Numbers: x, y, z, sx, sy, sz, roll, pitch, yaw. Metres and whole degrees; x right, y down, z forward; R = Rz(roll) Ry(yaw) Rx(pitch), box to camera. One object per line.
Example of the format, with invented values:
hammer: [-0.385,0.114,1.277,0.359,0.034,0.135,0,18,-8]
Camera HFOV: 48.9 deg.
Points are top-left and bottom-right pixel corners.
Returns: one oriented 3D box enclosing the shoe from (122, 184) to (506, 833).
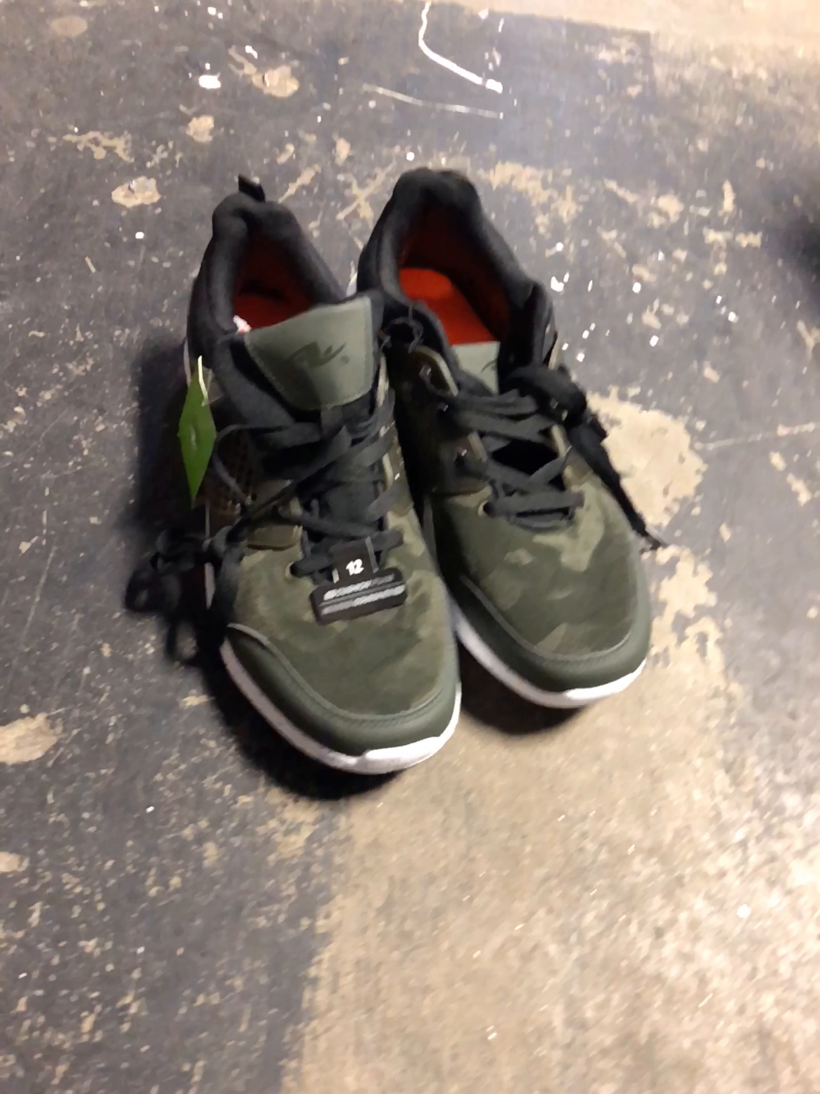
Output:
shoe: [-0.062,-0.031,0.462,0.110,0.119,0.302,-11,61,-12]

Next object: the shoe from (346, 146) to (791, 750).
shoe: [0.055,-0.058,0.464,0.110,0.129,0.271,-11,61,-12]
